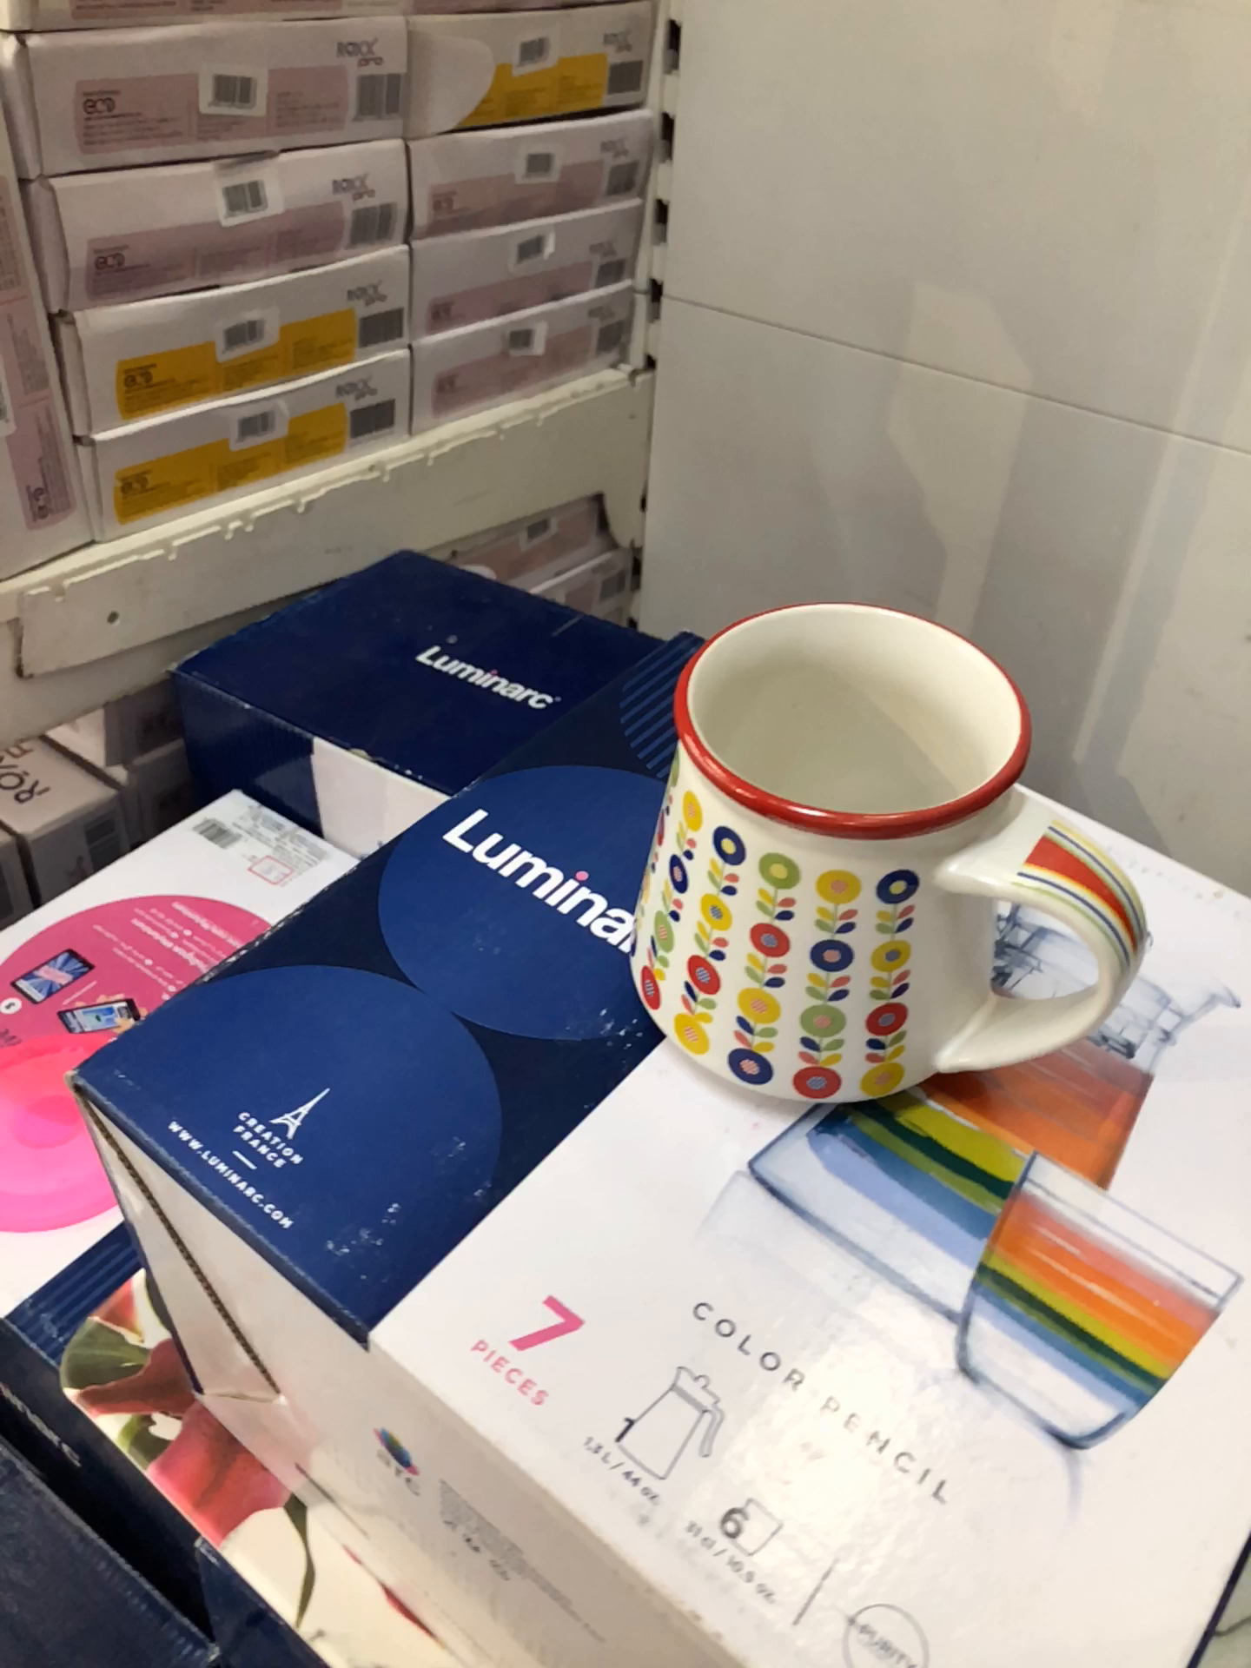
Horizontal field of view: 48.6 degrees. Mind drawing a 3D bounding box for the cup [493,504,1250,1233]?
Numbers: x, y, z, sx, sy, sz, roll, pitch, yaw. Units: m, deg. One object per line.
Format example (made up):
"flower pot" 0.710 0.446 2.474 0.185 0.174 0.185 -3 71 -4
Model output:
"cup" 0.049 0.001 0.310 0.130 0.089 0.081 27 49 27
